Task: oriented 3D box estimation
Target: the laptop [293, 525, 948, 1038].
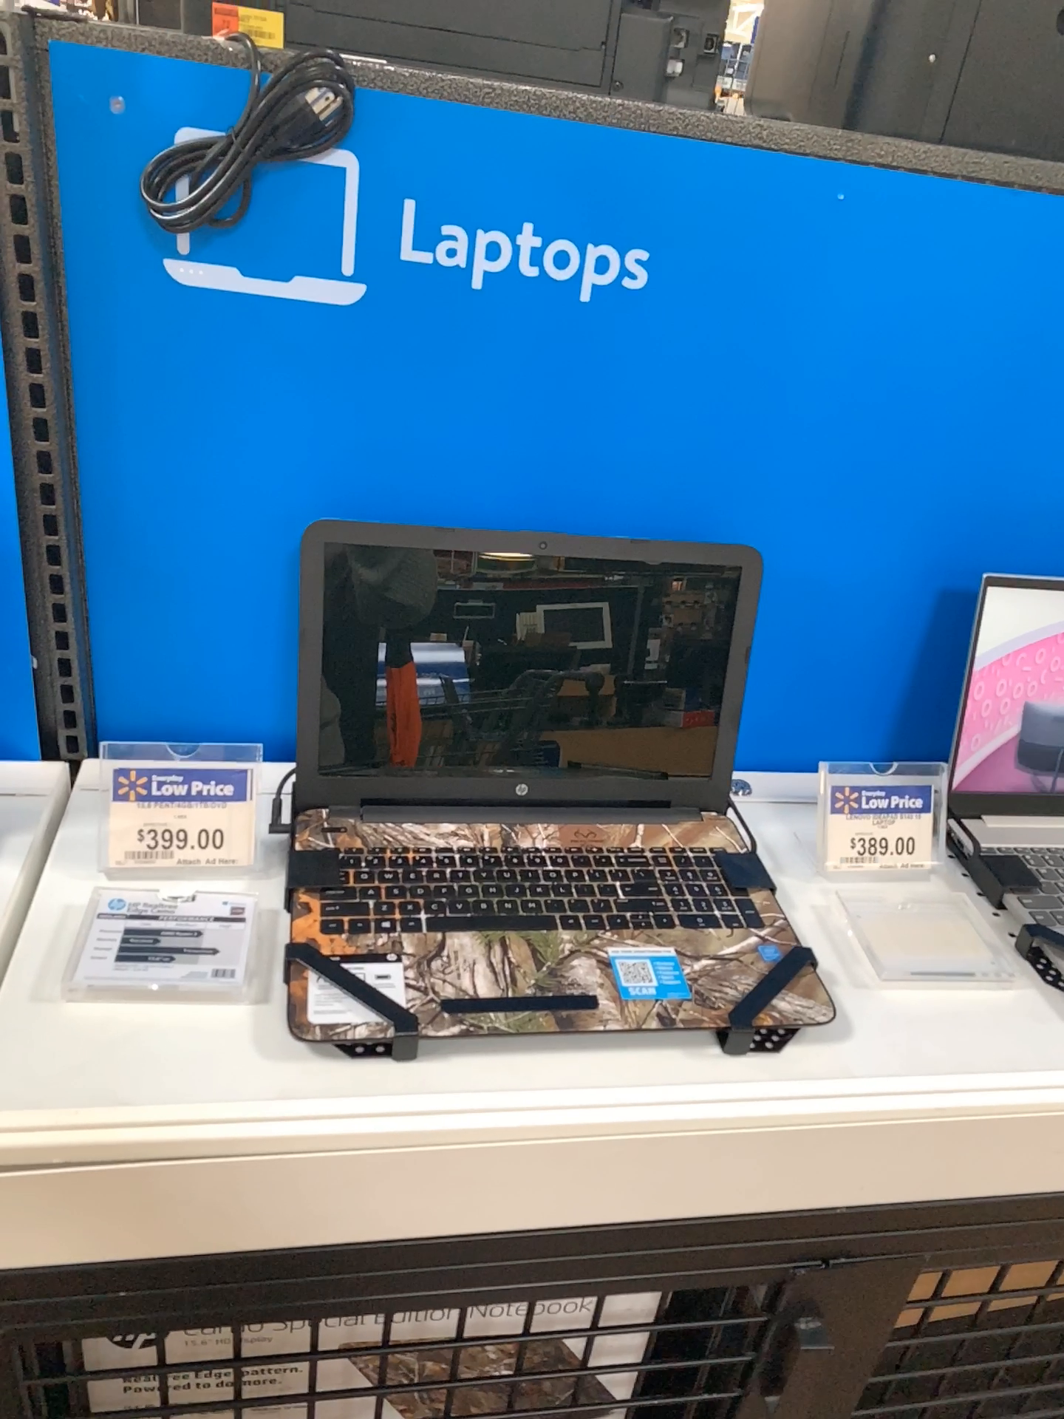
[{"bbox_3d":[0.020,0.039,0.786,0.374,0.227,0.304,2,29,-12],"label":"laptop"}]
